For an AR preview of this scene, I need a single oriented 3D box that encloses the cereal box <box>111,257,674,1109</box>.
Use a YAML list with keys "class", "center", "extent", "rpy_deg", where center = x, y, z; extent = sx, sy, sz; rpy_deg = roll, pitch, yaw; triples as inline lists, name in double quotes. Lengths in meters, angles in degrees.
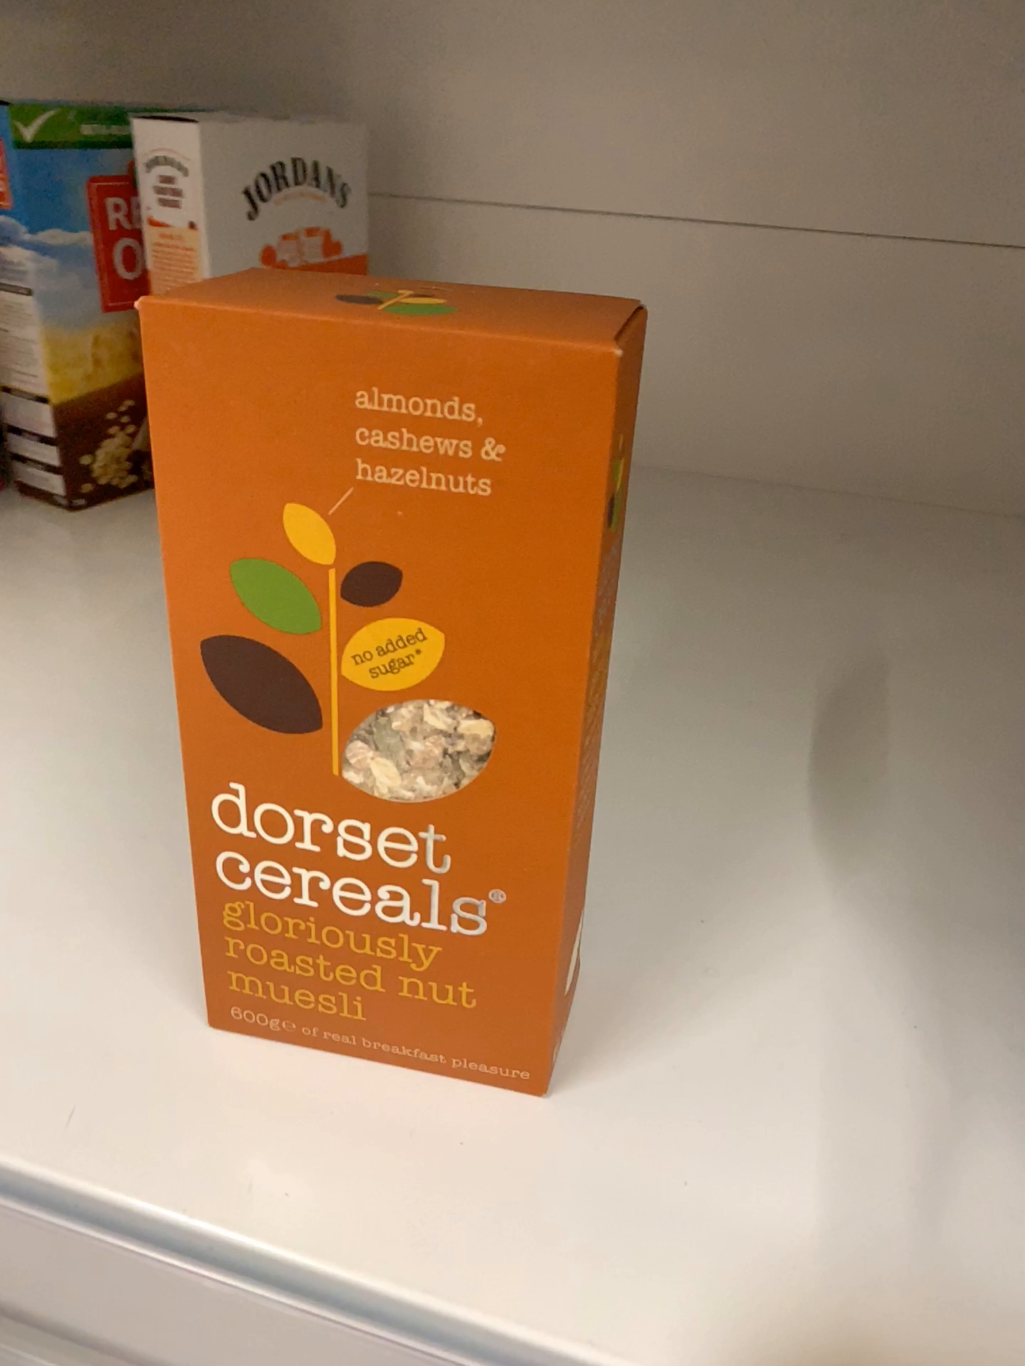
- class: "cereal box"
  center: [-0.030, 0.007, 0.304]
  extent: [0.120, 0.228, 0.061]
  rpy_deg: [8, 29, 9]
